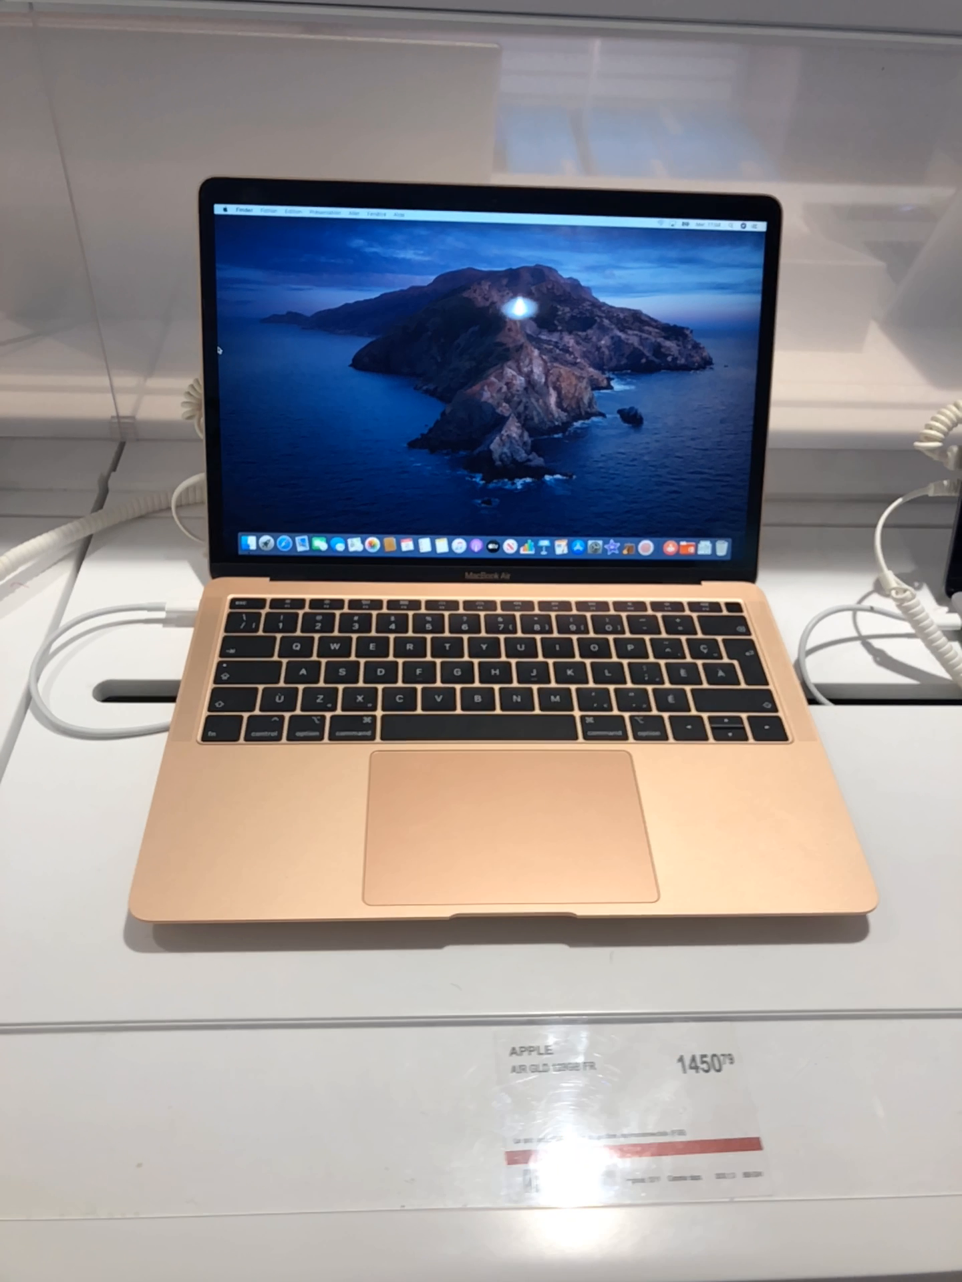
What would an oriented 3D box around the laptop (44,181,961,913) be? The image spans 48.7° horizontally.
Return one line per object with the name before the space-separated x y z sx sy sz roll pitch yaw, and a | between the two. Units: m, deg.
laptop | 0.010 -0.059 0.480 0.291 0.170 0.305 0 43 -4
